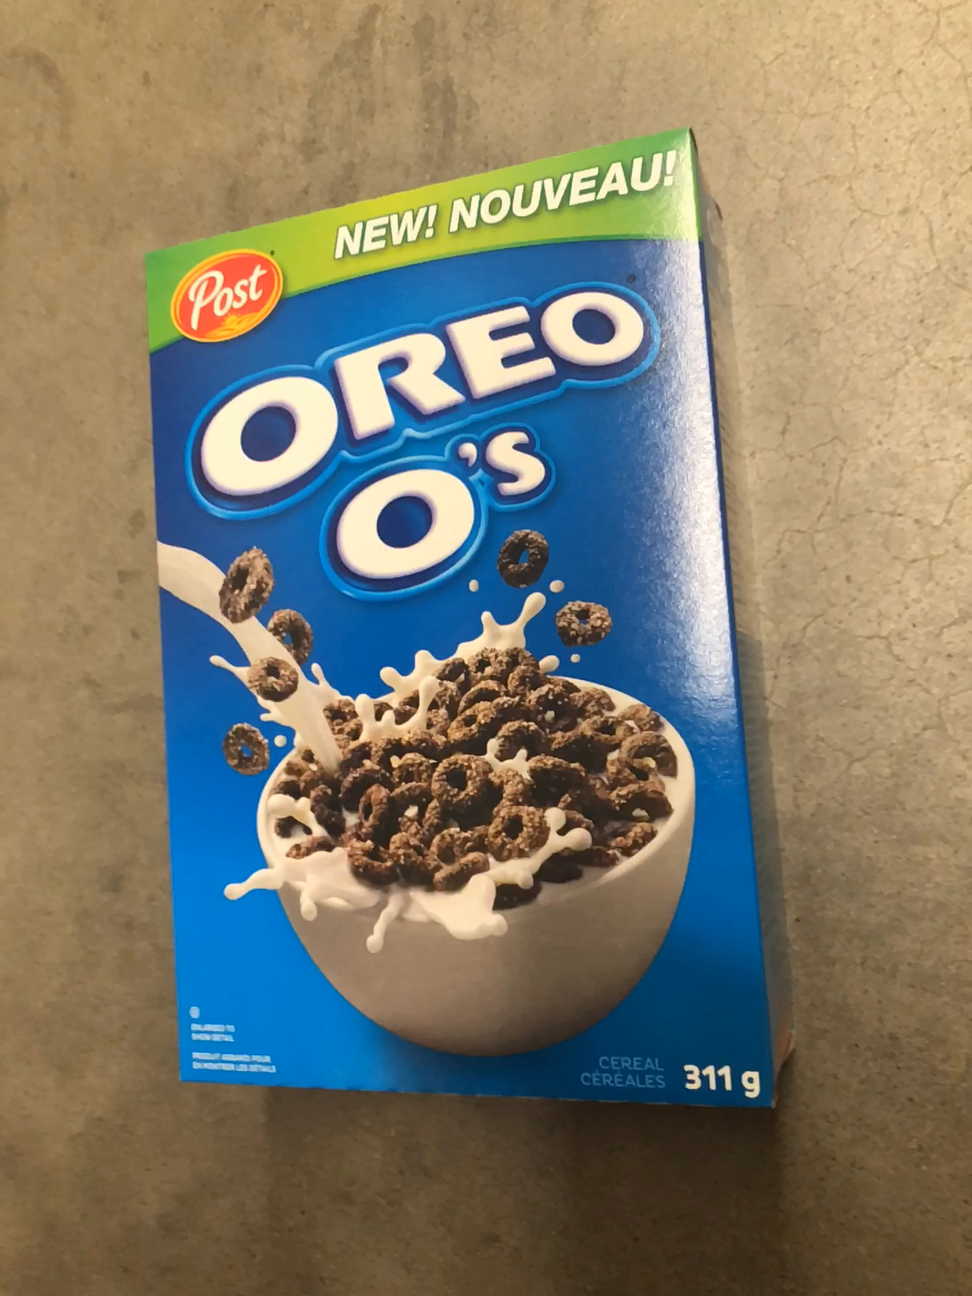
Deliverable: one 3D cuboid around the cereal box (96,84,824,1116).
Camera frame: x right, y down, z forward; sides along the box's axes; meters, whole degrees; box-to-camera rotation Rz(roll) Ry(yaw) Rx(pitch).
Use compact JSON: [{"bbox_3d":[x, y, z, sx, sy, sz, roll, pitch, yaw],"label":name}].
[{"bbox_3d":[-0.013,-0.006,0.357,0.210,0.070,0.280,-6,85,19],"label":"cereal box"}]
